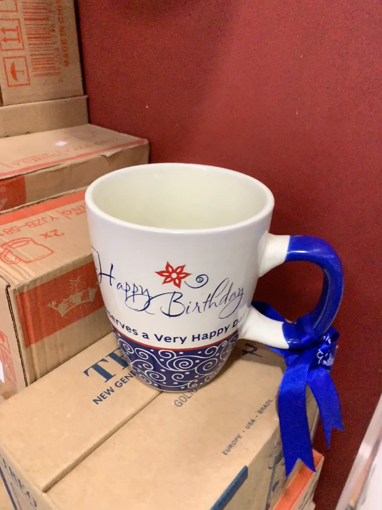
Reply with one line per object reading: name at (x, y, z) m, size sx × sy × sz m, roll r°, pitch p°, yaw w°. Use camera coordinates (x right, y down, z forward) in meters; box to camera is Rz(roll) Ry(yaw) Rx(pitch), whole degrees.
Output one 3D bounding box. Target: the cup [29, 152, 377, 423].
cup at (0.008, 0.007, 0.208) m, size 0.131 × 0.086 × 0.092 m, roll 7°, pitch 30°, yaw 9°
